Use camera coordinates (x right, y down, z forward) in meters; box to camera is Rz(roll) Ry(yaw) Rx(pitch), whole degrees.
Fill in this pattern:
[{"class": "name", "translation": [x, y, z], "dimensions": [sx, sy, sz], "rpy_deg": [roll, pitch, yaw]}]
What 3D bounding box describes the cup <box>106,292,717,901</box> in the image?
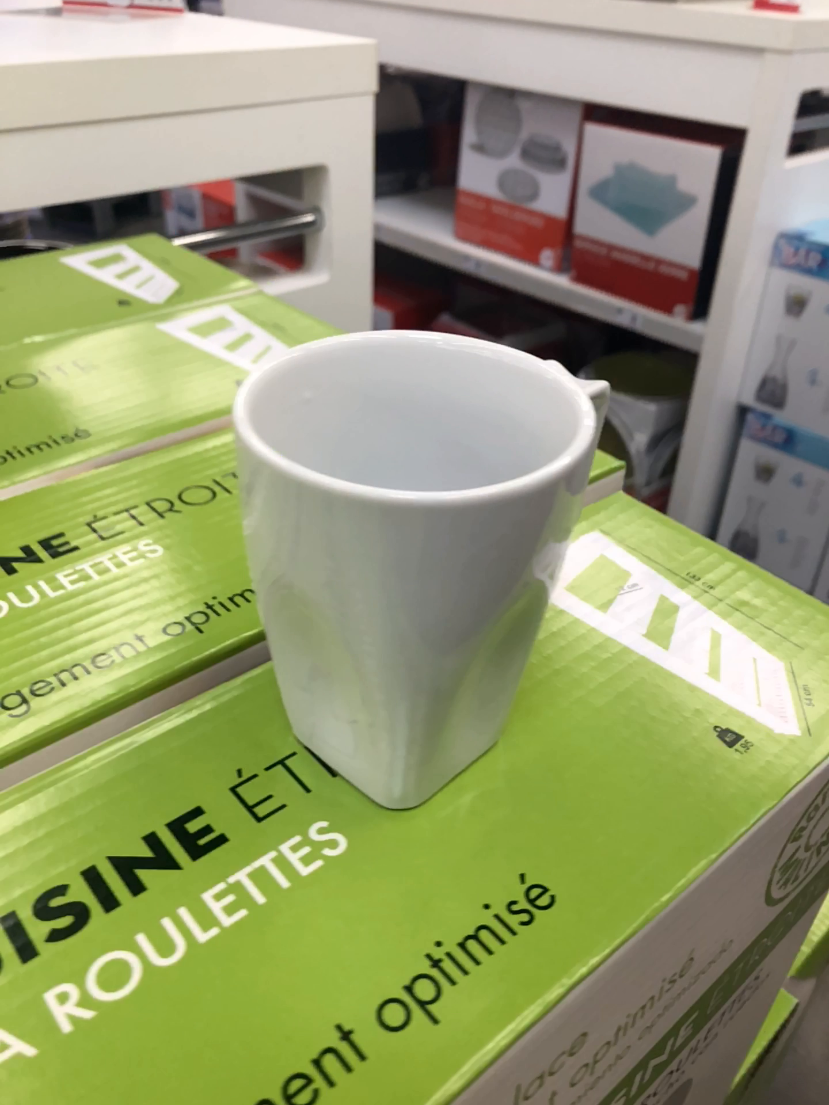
[{"class": "cup", "translation": [0.001, 0.000, 0.231], "dimensions": [0.083, 0.087, 0.112], "rpy_deg": [30, 42, 34]}]
